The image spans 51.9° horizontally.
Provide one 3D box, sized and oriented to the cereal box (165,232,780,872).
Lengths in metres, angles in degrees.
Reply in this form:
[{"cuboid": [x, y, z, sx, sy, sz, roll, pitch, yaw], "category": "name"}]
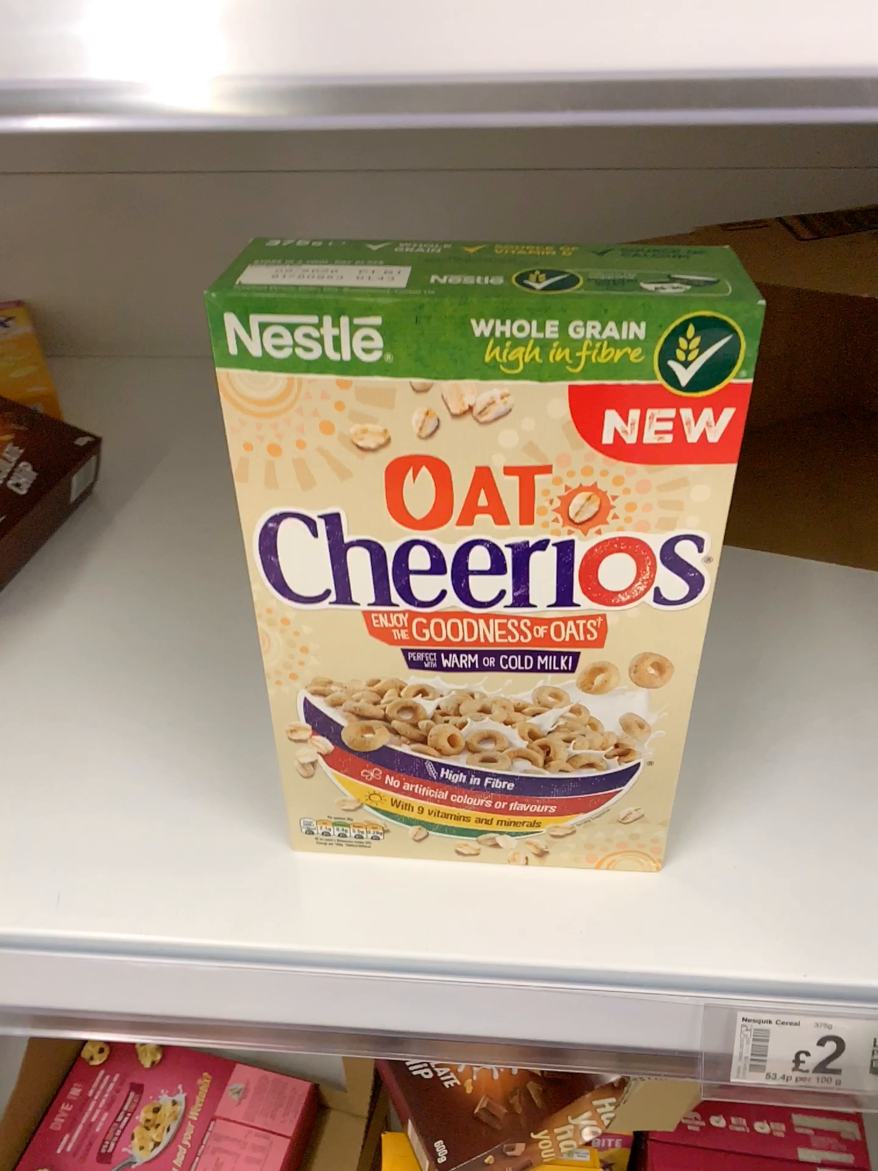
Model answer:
[{"cuboid": [0.014, 0.001, 0.404, 0.200, 0.287, 0.071, 2, 35, 5], "category": "cereal box"}]
